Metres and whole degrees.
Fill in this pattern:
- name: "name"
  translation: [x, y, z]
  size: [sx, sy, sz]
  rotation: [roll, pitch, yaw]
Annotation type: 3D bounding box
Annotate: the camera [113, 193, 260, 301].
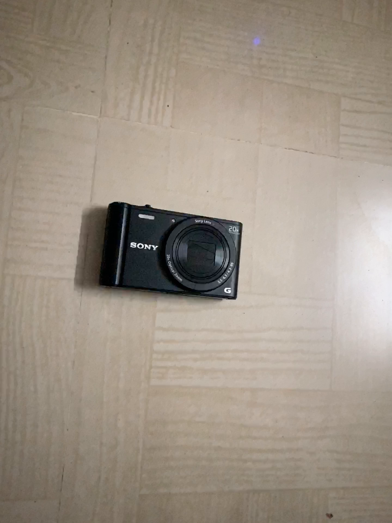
- name: "camera"
  translation: [-0.006, -0.007, 0.278]
  size: [0.092, 0.025, 0.060]
  rotation: [7, 83, -12]
